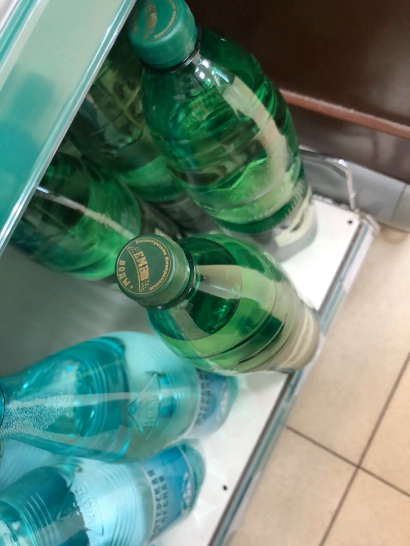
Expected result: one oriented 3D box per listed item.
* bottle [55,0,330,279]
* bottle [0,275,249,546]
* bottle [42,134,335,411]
[{"bbox_3d":[0.032,-0.086,0.356,0.082,0.327,0.091,24,85,21],"label":"bottle"},{"bbox_3d":[-0.052,0.089,0.341,0.076,0.327,0.083,-4,76,16],"label":"bottle"},{"bbox_3d":[0.030,0.028,0.339,0.088,0.309,0.091,-4,76,16],"label":"bottle"}]
